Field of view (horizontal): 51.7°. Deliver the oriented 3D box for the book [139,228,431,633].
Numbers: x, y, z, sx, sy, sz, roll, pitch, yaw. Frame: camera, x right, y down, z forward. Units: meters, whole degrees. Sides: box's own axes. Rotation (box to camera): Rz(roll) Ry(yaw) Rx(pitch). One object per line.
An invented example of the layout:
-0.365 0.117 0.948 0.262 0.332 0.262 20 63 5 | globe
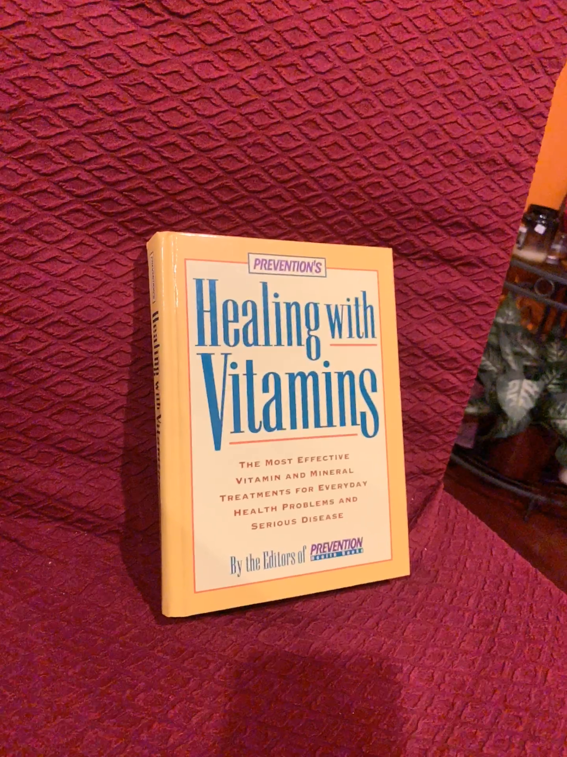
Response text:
0.005 0.027 0.403 0.190 0.240 0.040 -2 -2 -23 | book
